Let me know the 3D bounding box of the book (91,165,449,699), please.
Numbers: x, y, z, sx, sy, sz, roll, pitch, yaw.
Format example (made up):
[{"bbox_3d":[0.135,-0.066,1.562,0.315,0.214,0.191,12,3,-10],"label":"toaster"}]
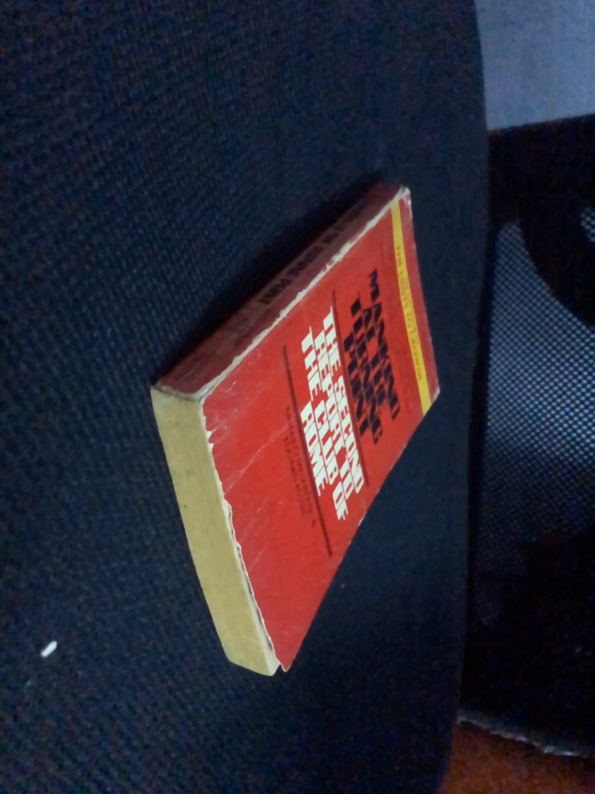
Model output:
[{"bbox_3d":[0.014,-0.004,0.263,0.195,0.025,0.117,-51,135,-46],"label":"book"}]
